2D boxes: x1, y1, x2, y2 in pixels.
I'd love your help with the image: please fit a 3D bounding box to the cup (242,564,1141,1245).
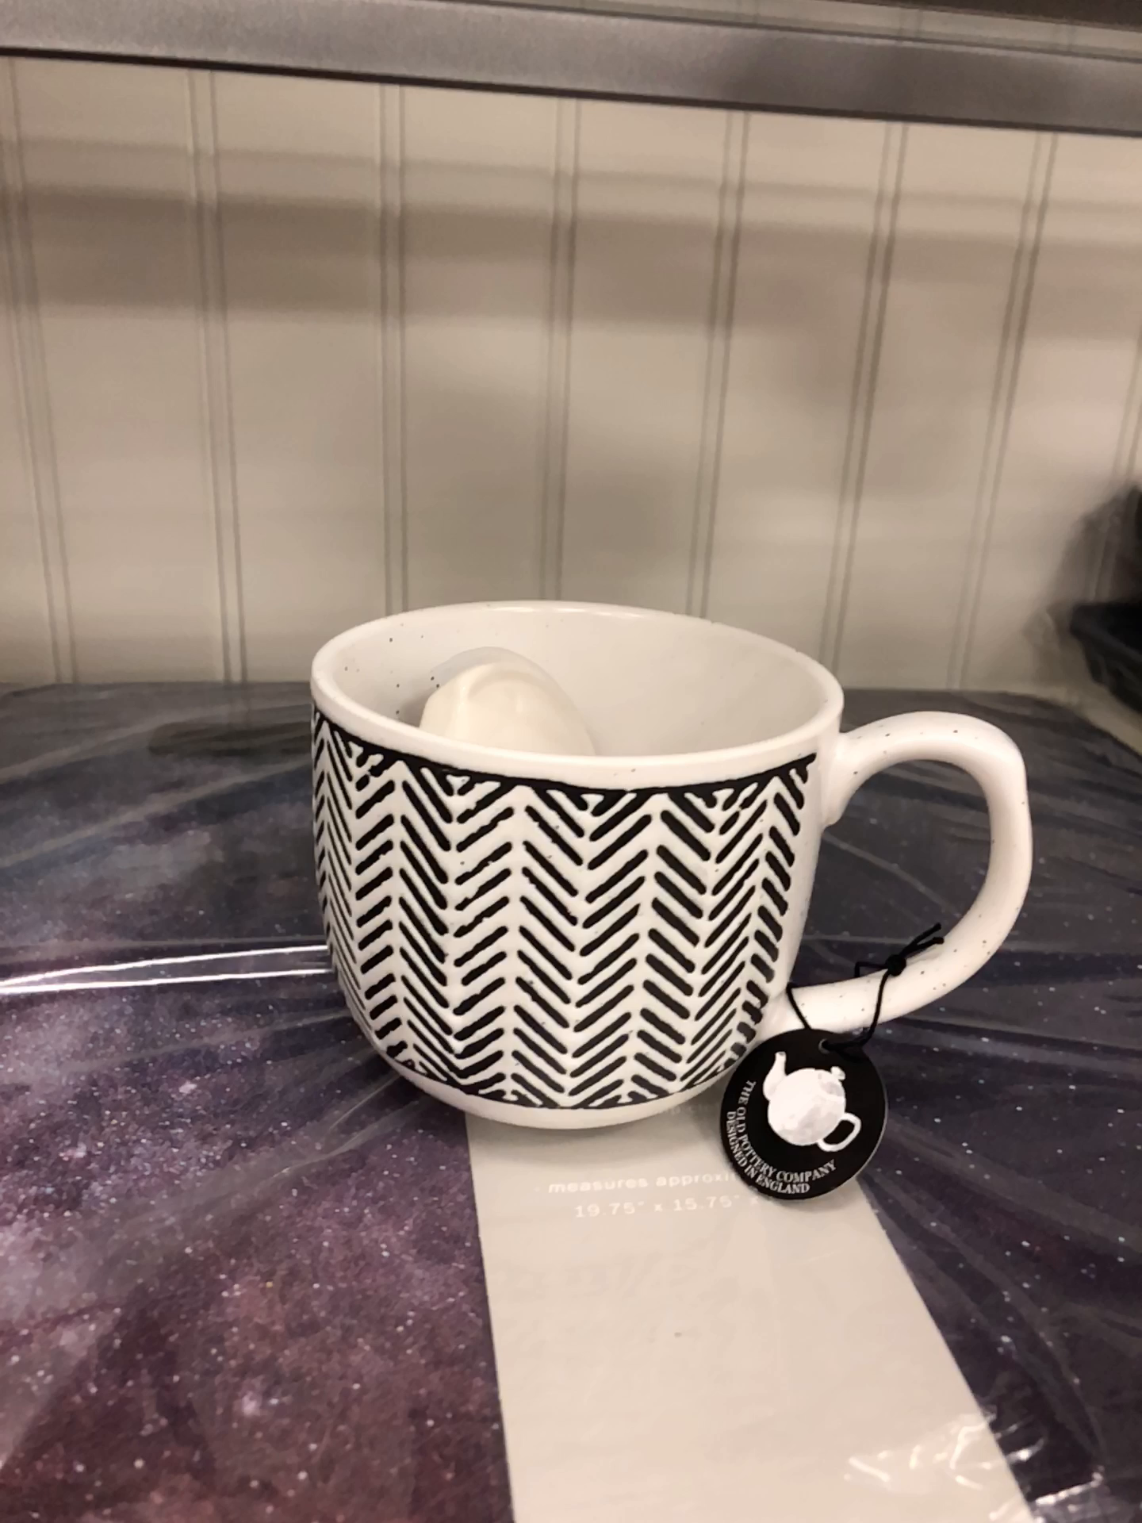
[{"bbox_3d":[0.023,0.018,0.248,0.140,0.079,0.091,7,23,10],"label":"cup"}]
